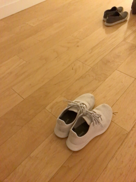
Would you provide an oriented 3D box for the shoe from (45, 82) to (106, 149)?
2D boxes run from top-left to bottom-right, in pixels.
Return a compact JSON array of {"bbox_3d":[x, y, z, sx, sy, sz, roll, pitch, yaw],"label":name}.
[{"bbox_3d":[0.043,0.099,0.686,0.130,0.089,0.281,28,57,26],"label":"shoe"}]

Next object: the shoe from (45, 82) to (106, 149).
[{"bbox_3d":[0.043,0.099,0.686,0.130,0.089,0.281,28,57,26],"label":"shoe"}]

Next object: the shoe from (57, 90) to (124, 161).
[{"bbox_3d":[0.101,0.129,0.622,0.120,0.070,0.281,33,59,29],"label":"shoe"}]
